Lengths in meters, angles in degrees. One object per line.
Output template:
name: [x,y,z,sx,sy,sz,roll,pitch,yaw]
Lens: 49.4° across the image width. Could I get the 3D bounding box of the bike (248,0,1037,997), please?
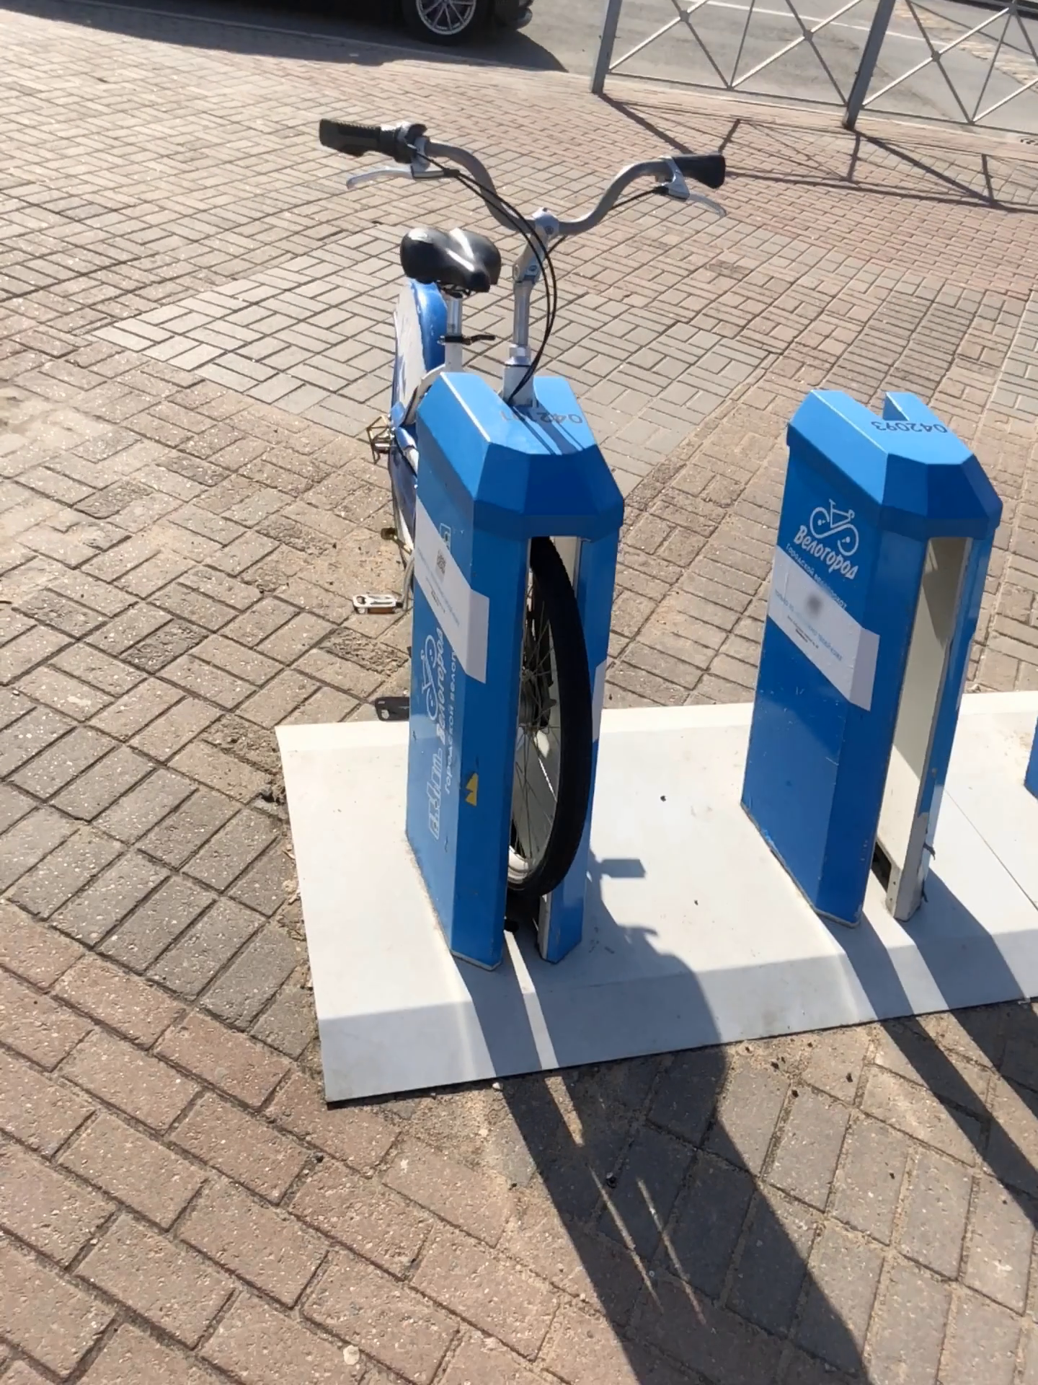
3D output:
bike: [-0.099,-0.491,2.084,0.682,1.233,1.683,-1,36,-16]
